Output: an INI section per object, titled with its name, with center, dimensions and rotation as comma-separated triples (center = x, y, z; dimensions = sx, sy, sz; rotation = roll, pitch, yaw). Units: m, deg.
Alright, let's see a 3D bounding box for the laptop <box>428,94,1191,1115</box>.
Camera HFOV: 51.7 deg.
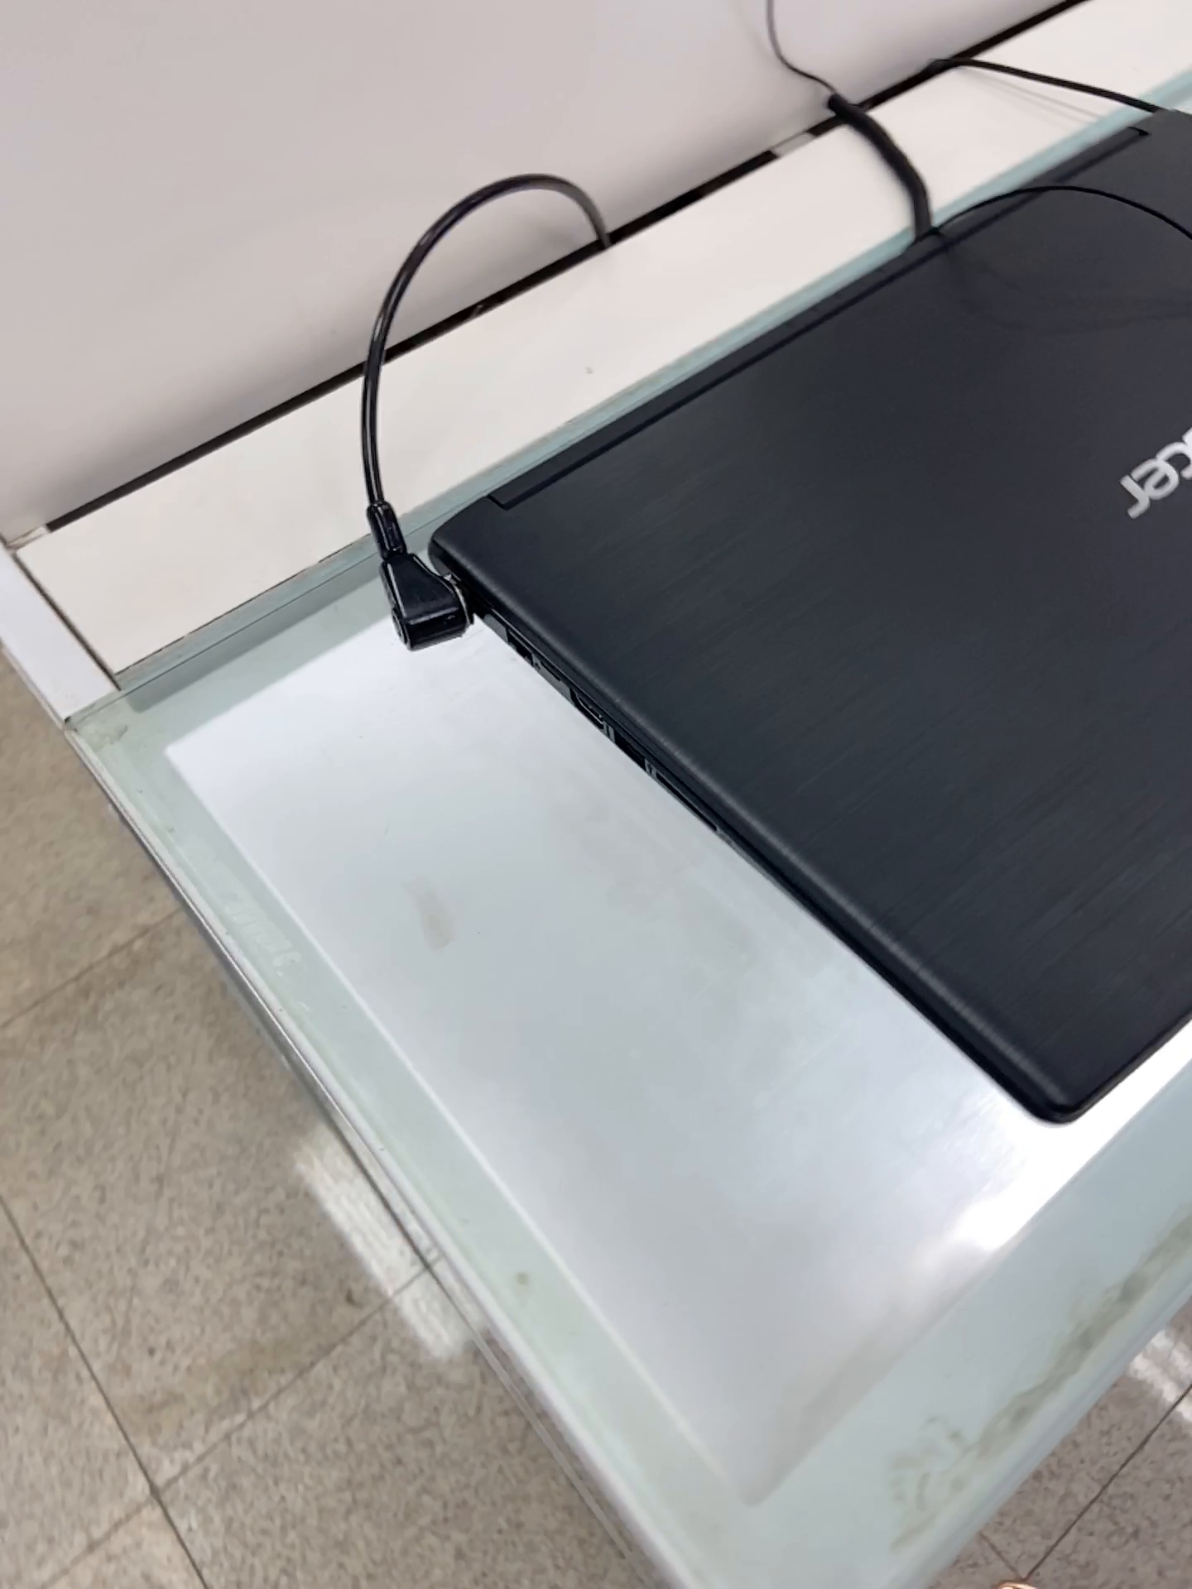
[laptop]
center = 0.174, -0.112, 0.390
dimensions = 0.387, 0.001, 0.248
rotation = -35, 59, -19
